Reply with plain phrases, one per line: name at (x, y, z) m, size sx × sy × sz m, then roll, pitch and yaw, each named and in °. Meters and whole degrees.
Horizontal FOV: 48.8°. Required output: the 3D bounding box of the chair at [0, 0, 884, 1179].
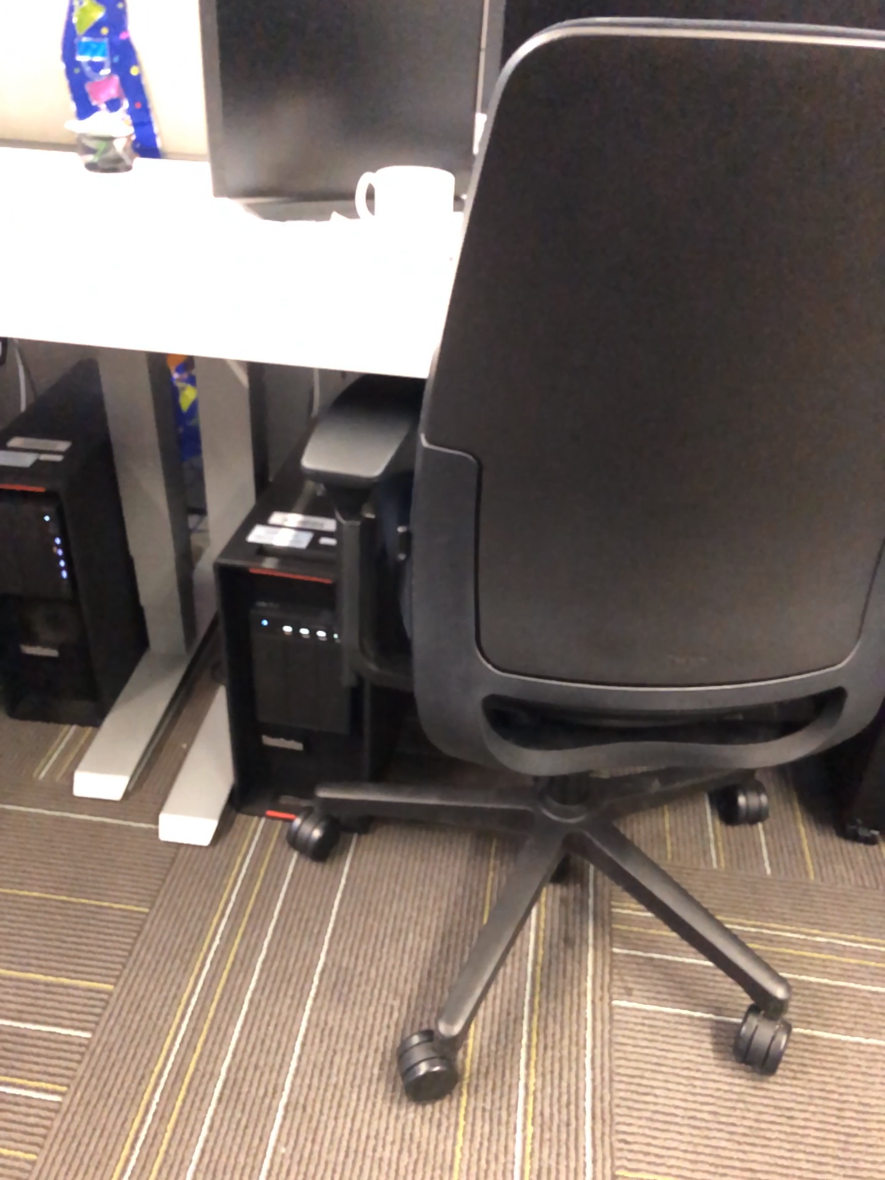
chair at (0.139, -0.010, 0.956) m, size 0.780 × 1.014 × 0.664 m, roll 6°, pitch 34°, yaw 4°
